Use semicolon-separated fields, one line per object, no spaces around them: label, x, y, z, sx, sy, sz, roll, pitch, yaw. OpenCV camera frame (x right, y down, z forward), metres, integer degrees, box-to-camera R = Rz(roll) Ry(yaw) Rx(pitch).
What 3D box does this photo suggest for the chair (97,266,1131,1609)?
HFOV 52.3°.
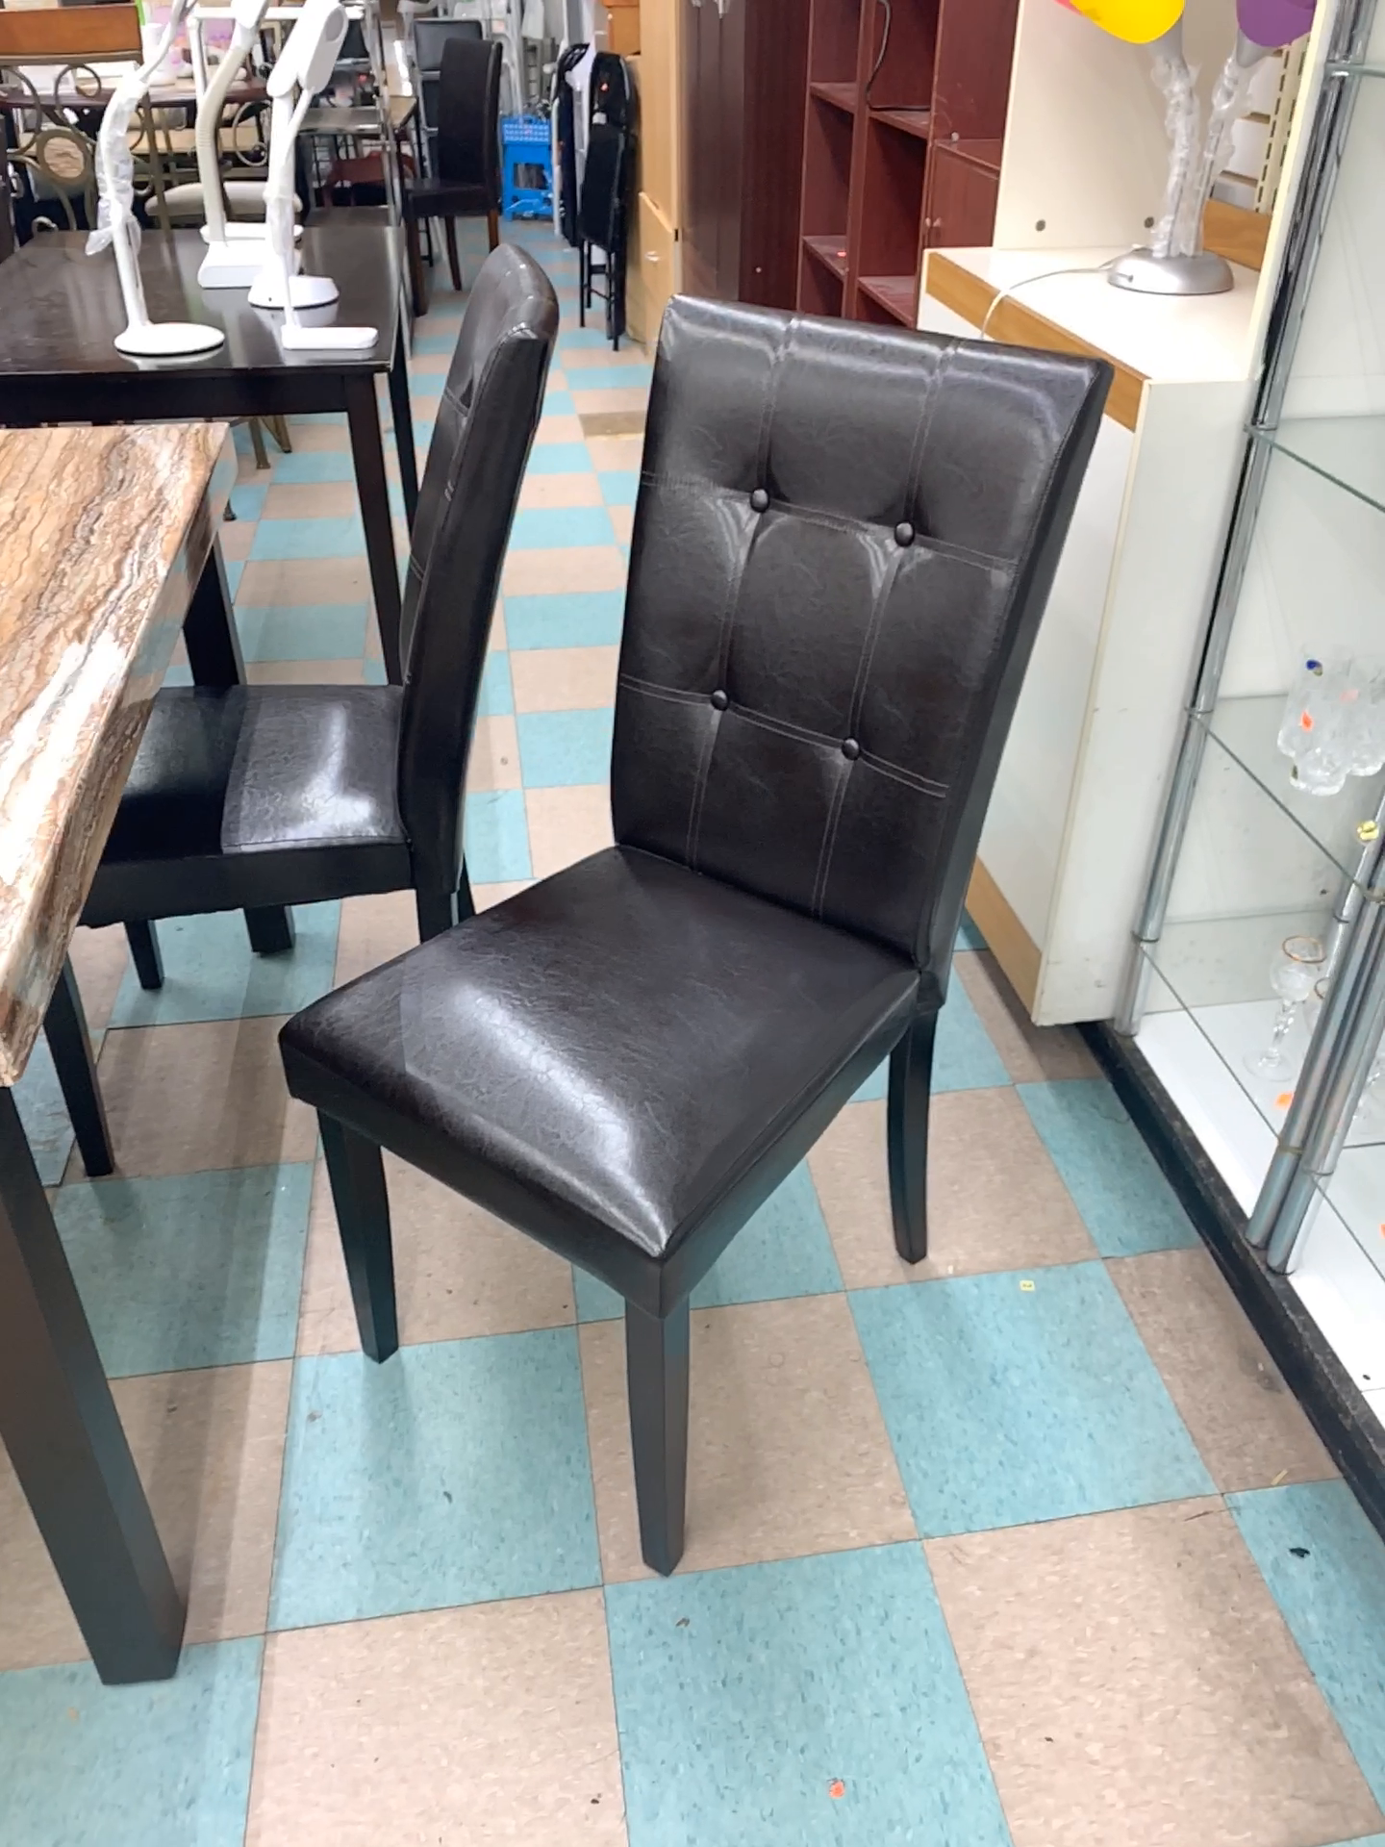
chair;-0.036;-0.004;1.264;0.485;0.949;0.556;24;41;31
